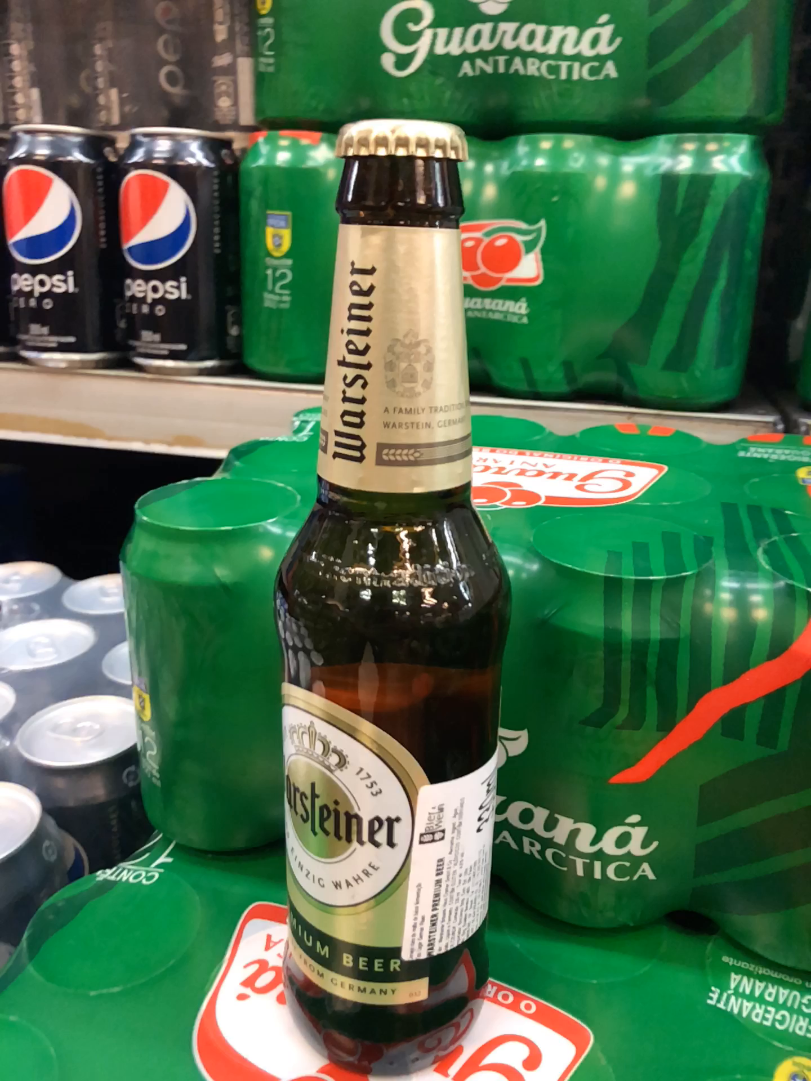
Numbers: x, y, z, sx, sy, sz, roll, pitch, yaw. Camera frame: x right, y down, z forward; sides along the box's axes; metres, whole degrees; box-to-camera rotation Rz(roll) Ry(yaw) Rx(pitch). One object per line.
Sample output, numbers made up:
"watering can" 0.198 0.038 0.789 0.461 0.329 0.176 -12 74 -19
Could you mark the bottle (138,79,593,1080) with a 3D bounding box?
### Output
"bottle" -0.010 0.021 0.219 0.060 0.229 0.070 -17 26 -40
